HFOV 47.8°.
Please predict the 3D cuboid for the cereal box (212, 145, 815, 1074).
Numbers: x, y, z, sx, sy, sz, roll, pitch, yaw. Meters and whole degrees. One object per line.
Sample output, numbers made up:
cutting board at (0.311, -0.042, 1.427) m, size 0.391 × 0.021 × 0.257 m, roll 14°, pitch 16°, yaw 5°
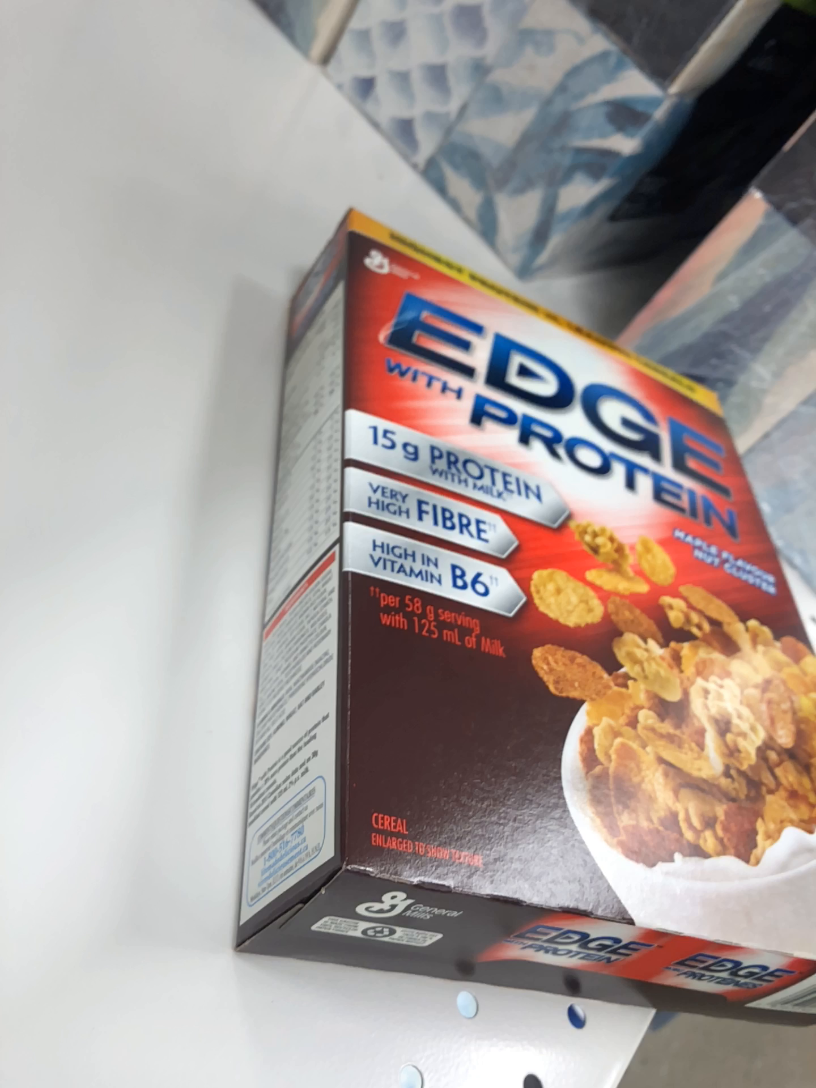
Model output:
cereal box at (0.063, 0.008, 0.301) m, size 0.221 × 0.050 × 0.271 m, roll 20°, pitch 44°, yaw -24°
